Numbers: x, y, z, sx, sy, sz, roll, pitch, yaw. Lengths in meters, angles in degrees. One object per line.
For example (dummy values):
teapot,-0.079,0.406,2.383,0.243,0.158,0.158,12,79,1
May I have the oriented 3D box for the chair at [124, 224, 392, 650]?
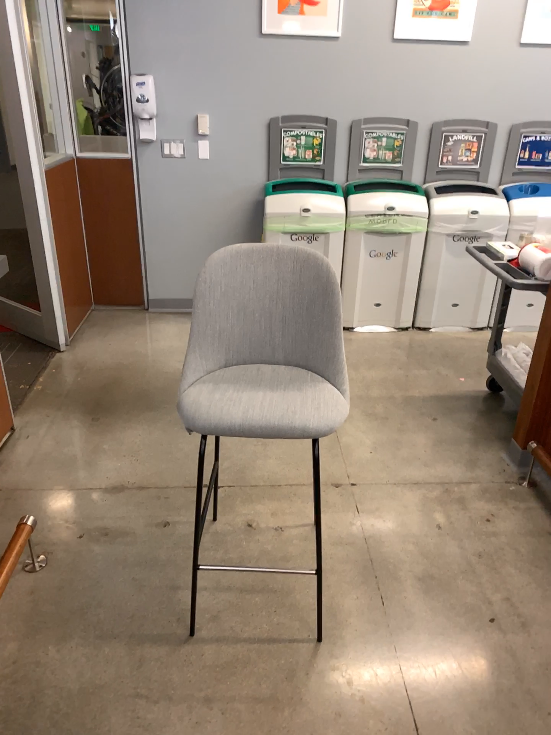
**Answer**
chair,-0.048,0.177,1.838,0.590,1.094,0.814,2,26,0
